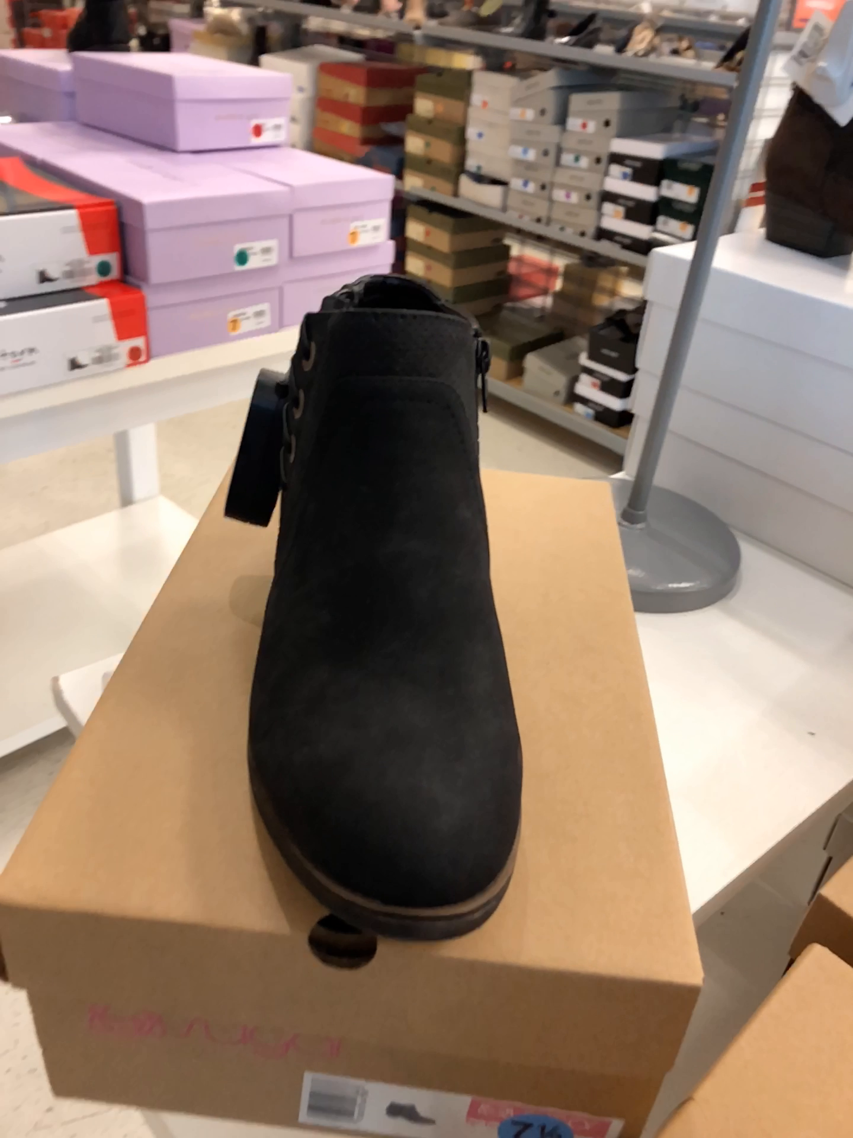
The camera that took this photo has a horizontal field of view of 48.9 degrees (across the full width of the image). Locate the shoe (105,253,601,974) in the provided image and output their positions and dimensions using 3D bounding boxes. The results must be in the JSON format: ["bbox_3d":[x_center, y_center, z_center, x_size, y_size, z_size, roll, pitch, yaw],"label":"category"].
[{"bbox_3d":[-0.025,-0.013,0.331,0.100,0.119,0.262,3,33,-5],"label":"shoe"}]
